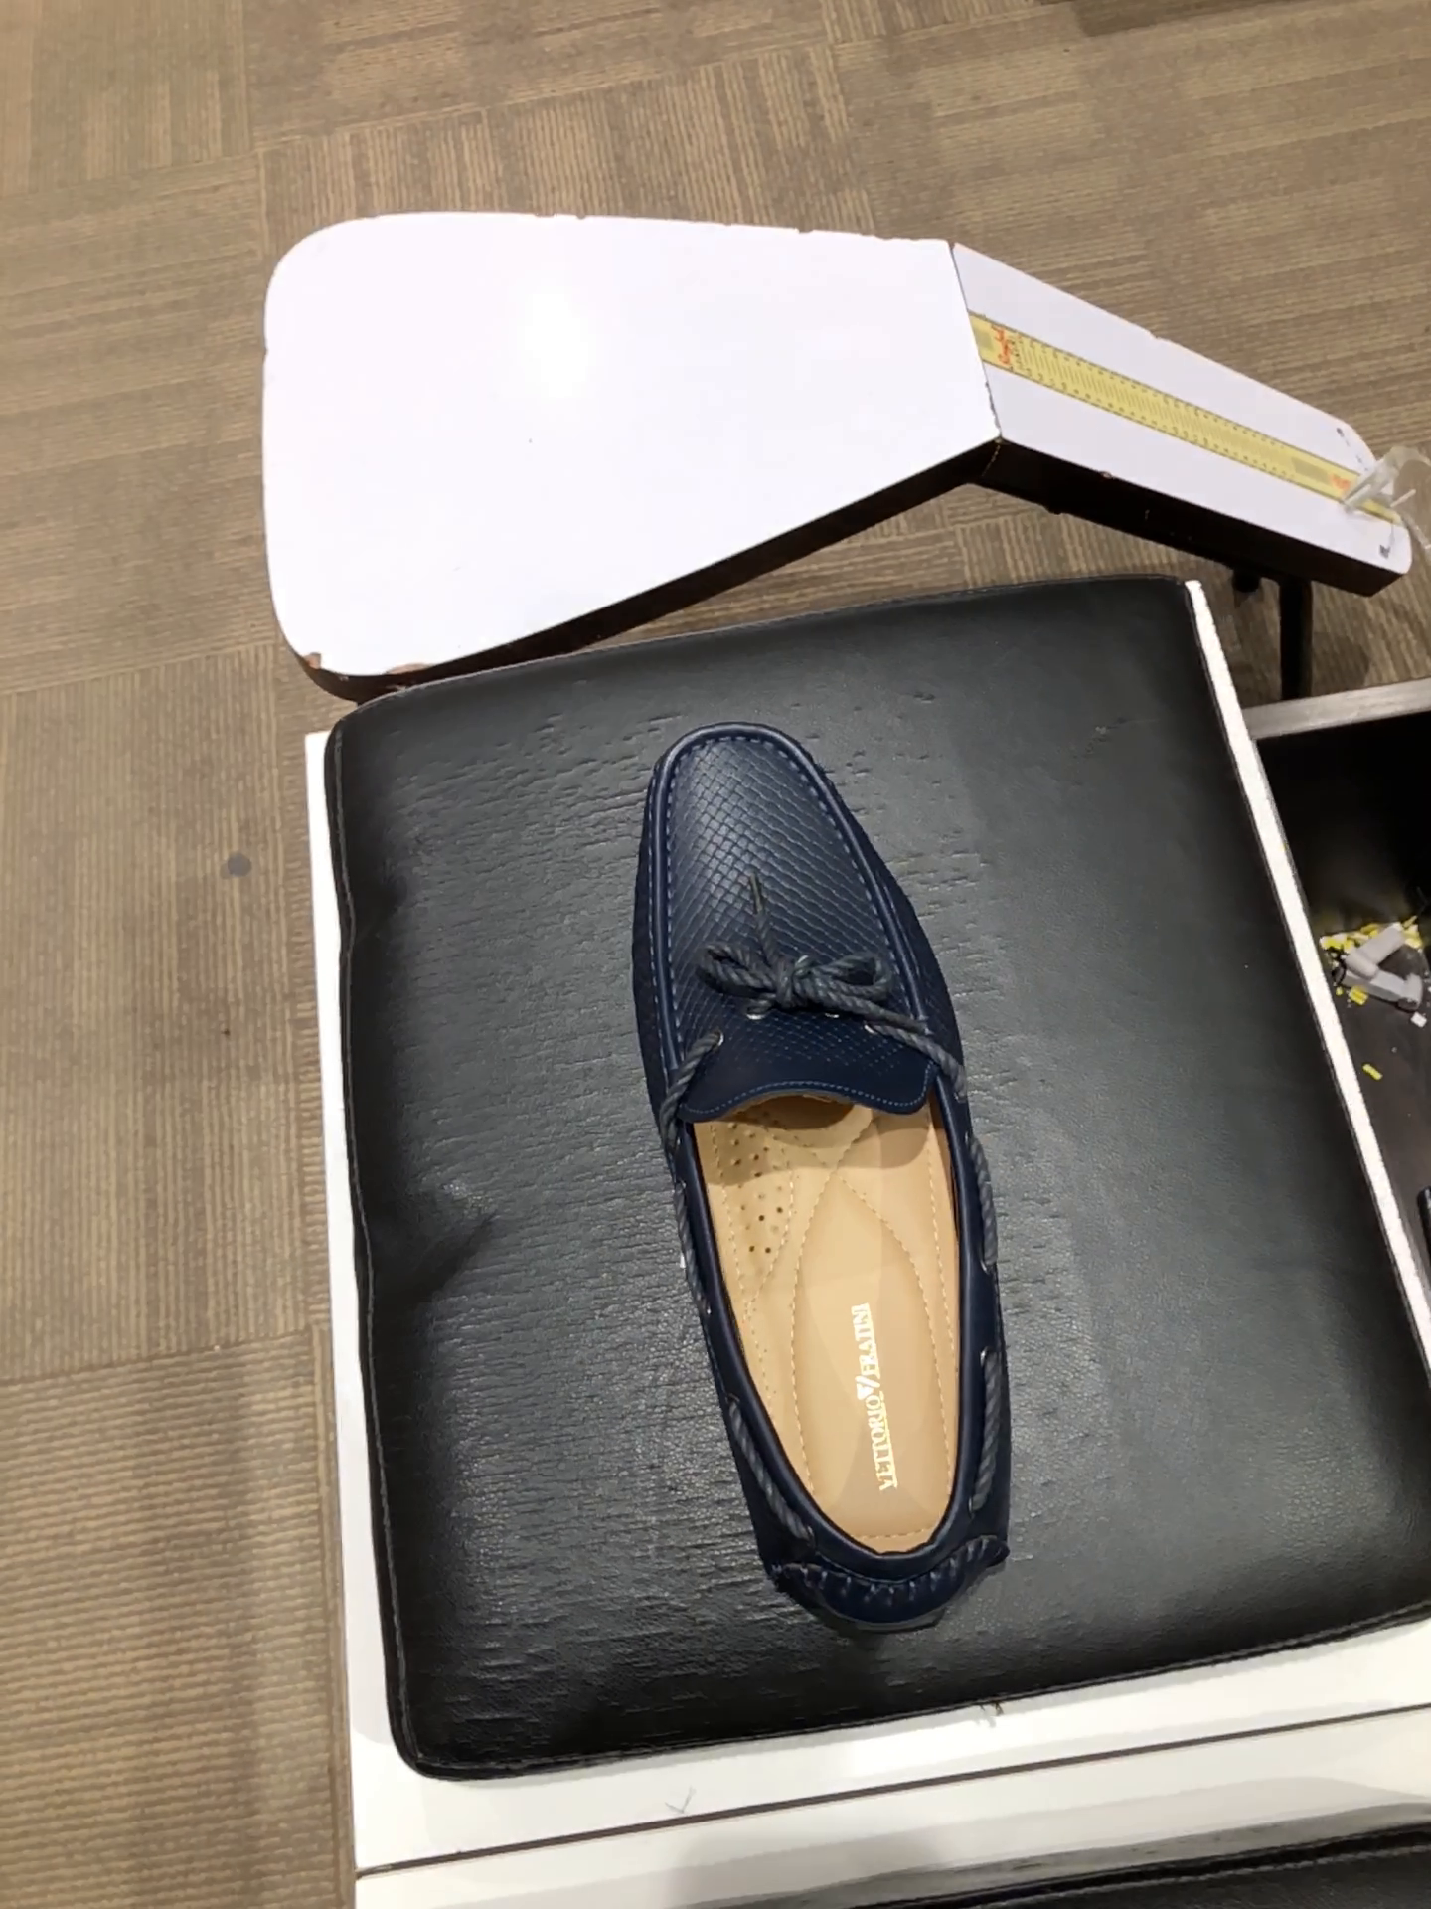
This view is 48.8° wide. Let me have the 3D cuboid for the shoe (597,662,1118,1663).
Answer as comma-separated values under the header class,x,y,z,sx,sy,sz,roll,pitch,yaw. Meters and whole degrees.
class,x,y,z,sx,sy,sz,roll,pitch,yaw
shoe,0.035,0.057,0.474,0.100,0.080,0.271,-9,68,3
